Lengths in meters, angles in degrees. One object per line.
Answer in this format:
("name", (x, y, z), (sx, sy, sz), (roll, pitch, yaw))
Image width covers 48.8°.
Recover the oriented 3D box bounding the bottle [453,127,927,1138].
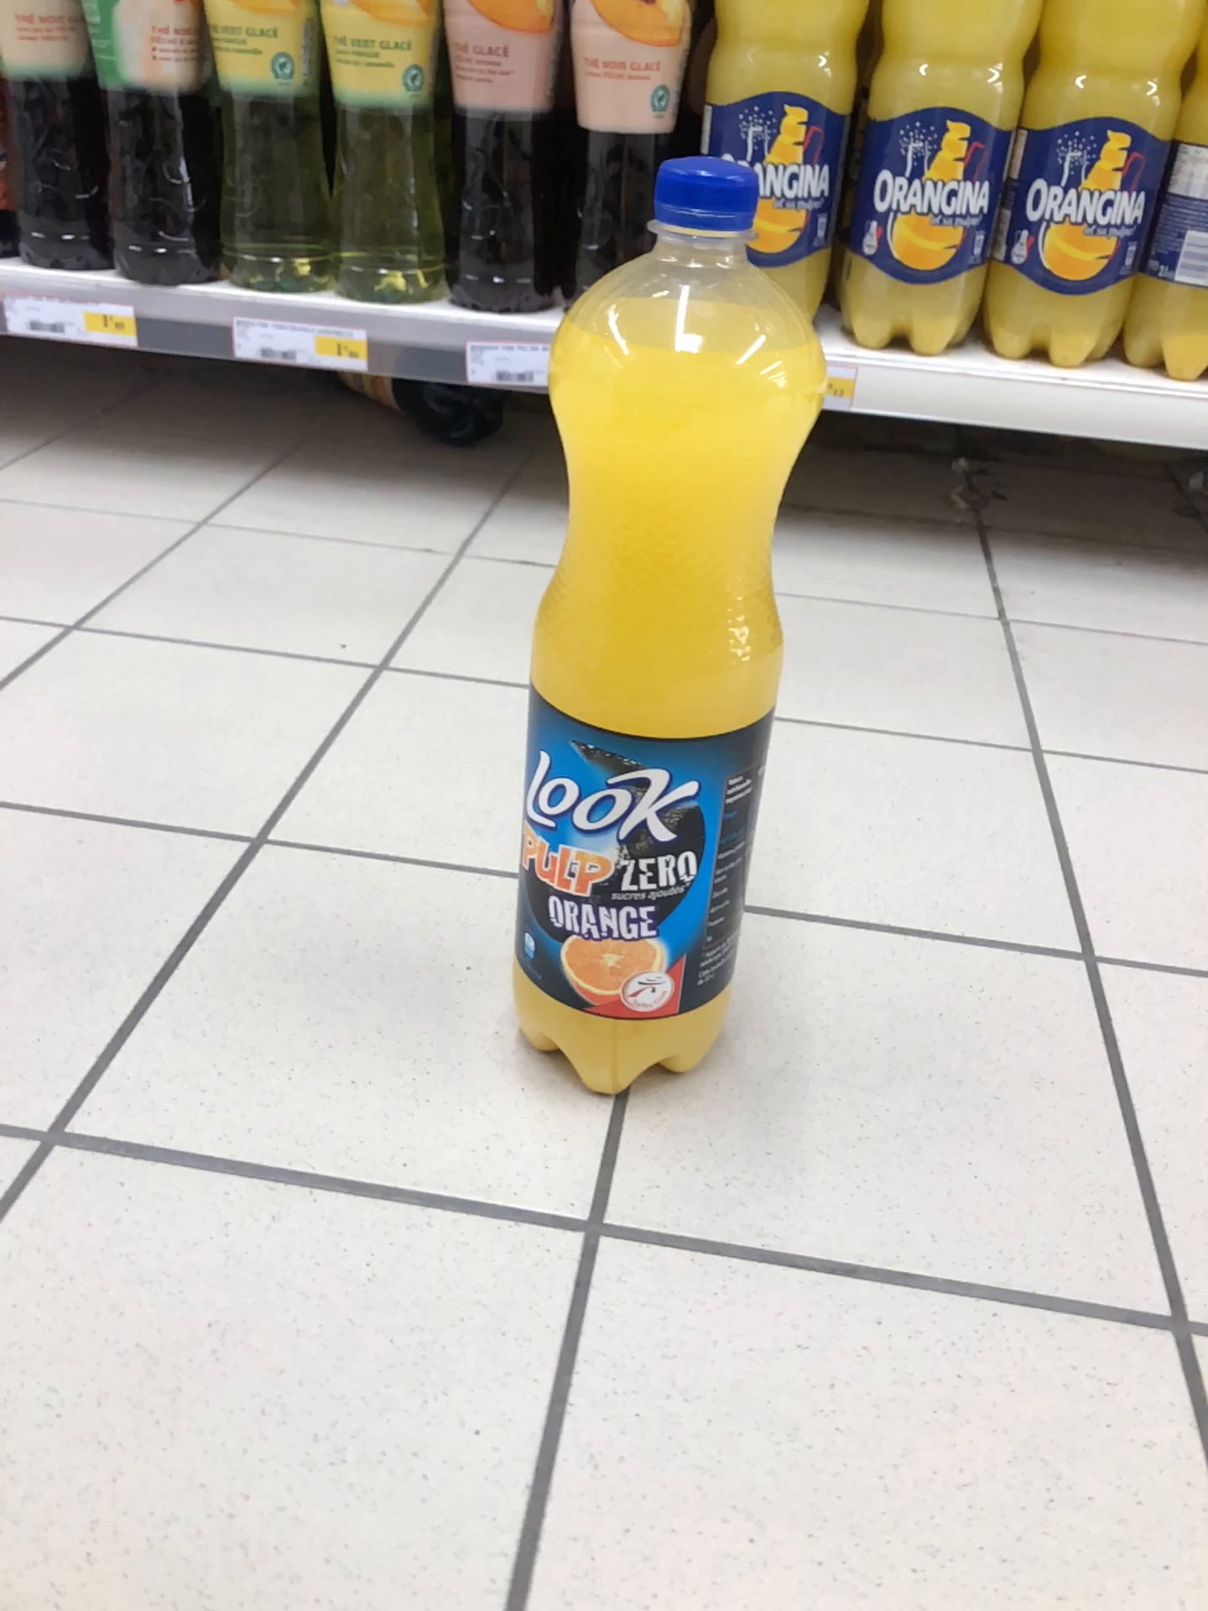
("bottle", (0.019, -0.052, 0.463), (0.100, 0.318, 0.101), (3, 30, -2))
